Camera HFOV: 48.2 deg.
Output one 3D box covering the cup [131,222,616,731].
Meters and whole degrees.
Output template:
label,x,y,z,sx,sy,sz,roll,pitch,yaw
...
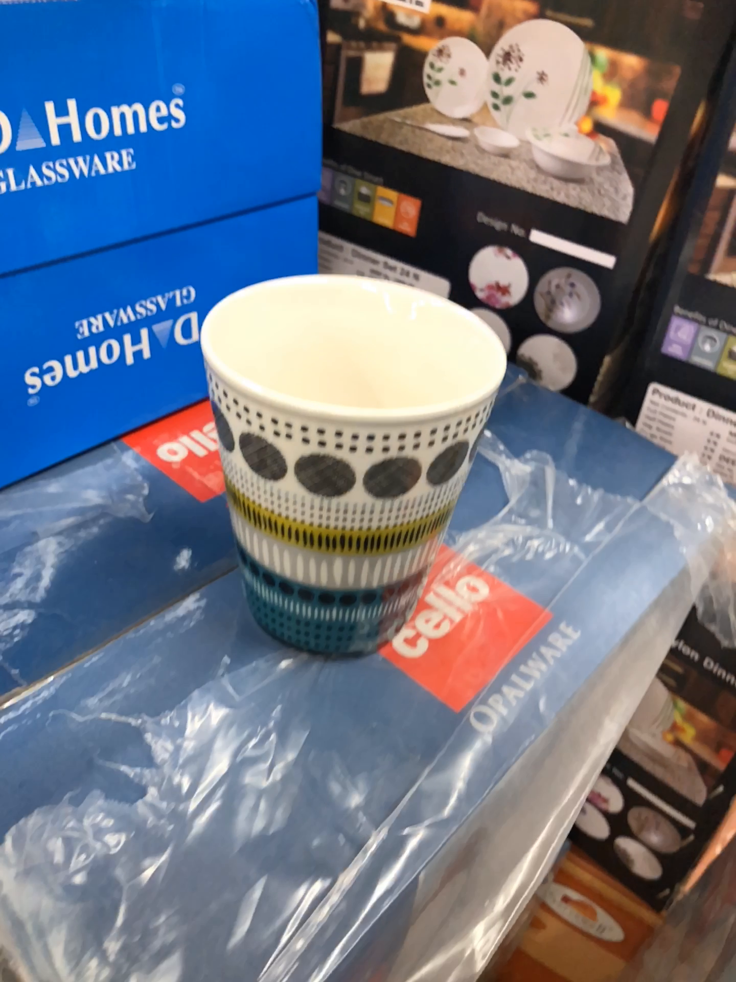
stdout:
label,x,y,z,sx,sy,sz,roll,pitch,yaw
cup,0.003,-0.014,0.265,0.090,0.089,0.121,28,42,21
